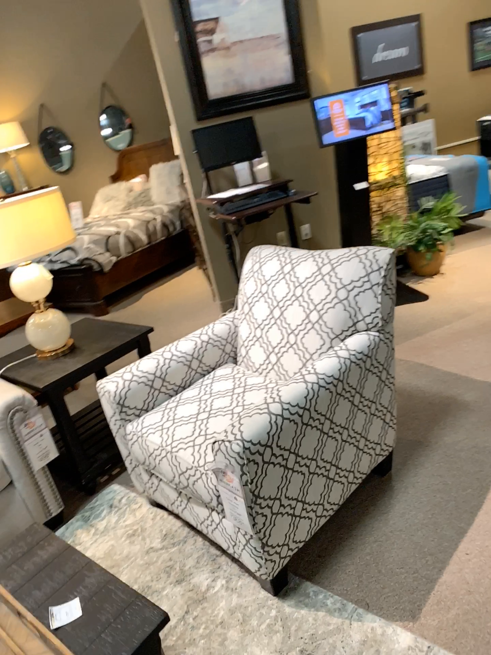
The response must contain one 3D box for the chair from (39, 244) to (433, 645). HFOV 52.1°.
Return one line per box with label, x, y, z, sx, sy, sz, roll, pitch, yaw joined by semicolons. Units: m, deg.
chair;0.012;0.251;1.857;0.965;0.847;0.877;-29;26;-36
